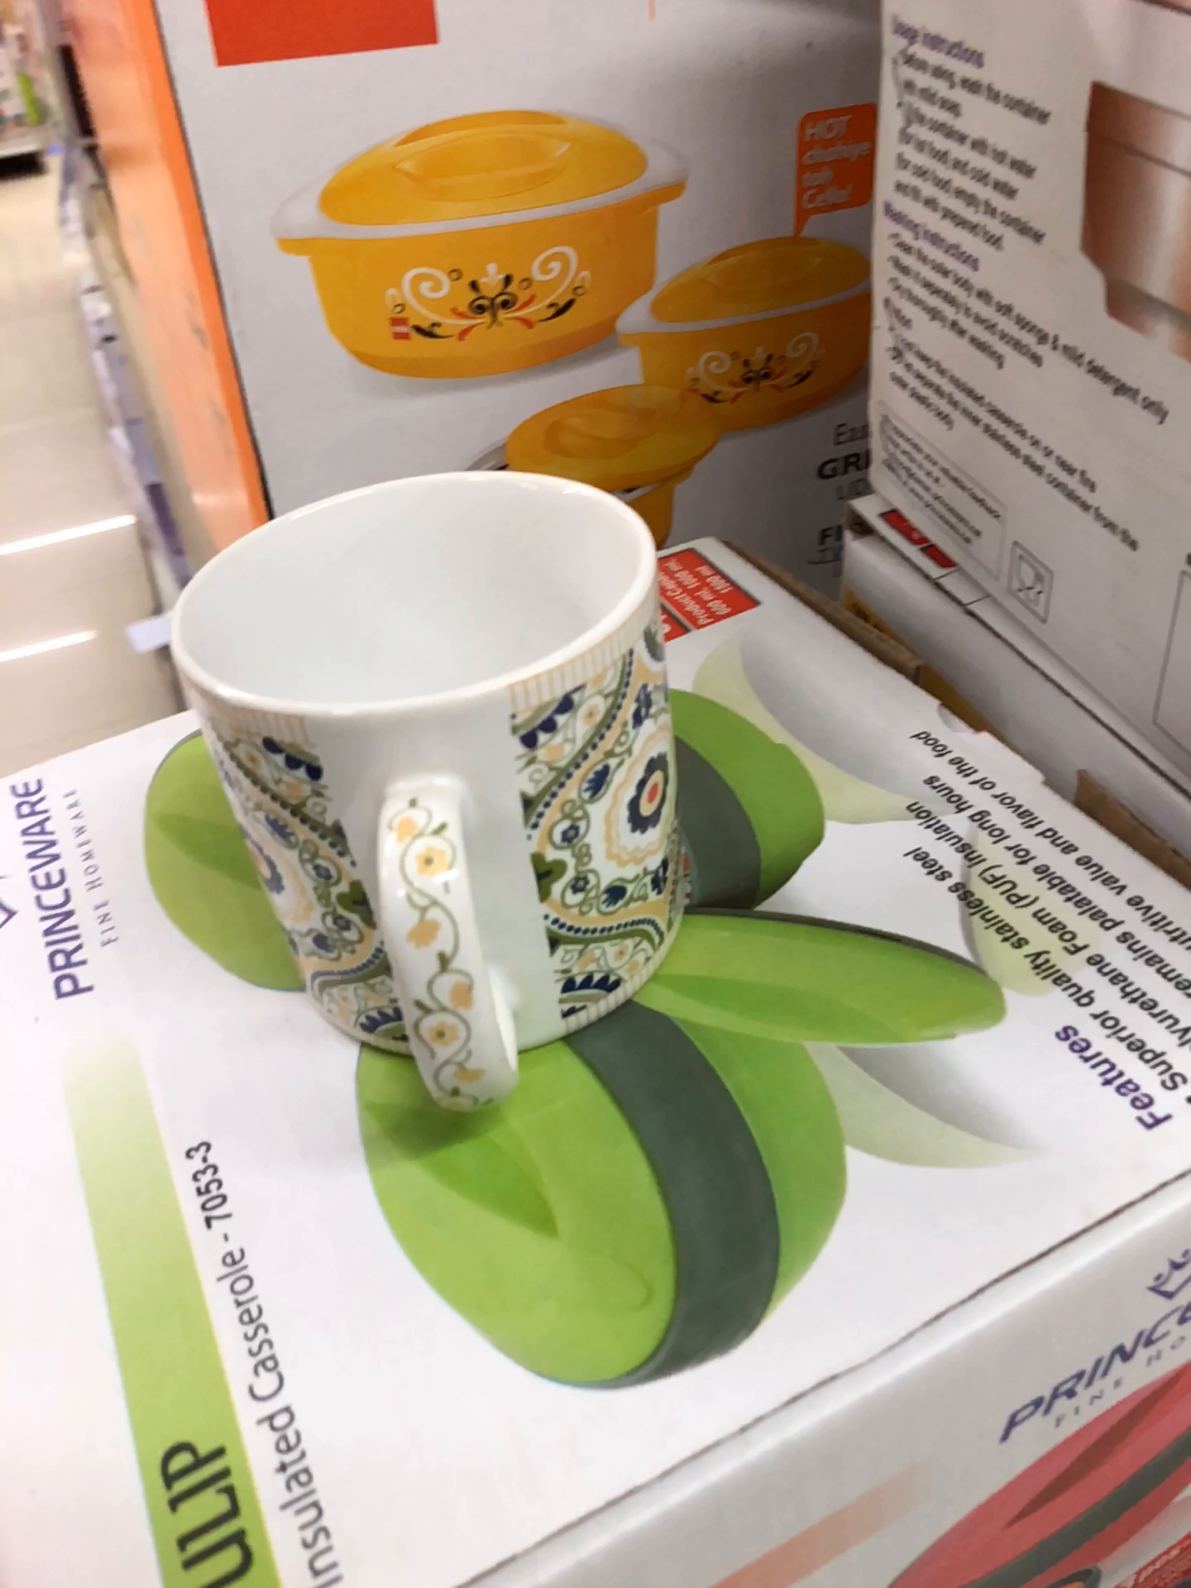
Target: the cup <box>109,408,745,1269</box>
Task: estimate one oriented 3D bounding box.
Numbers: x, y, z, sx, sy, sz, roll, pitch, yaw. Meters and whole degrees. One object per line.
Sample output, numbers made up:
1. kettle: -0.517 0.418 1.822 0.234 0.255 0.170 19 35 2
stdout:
1. cup: -0.024 0.000 0.217 0.070 0.079 0.111 -10 37 -4
